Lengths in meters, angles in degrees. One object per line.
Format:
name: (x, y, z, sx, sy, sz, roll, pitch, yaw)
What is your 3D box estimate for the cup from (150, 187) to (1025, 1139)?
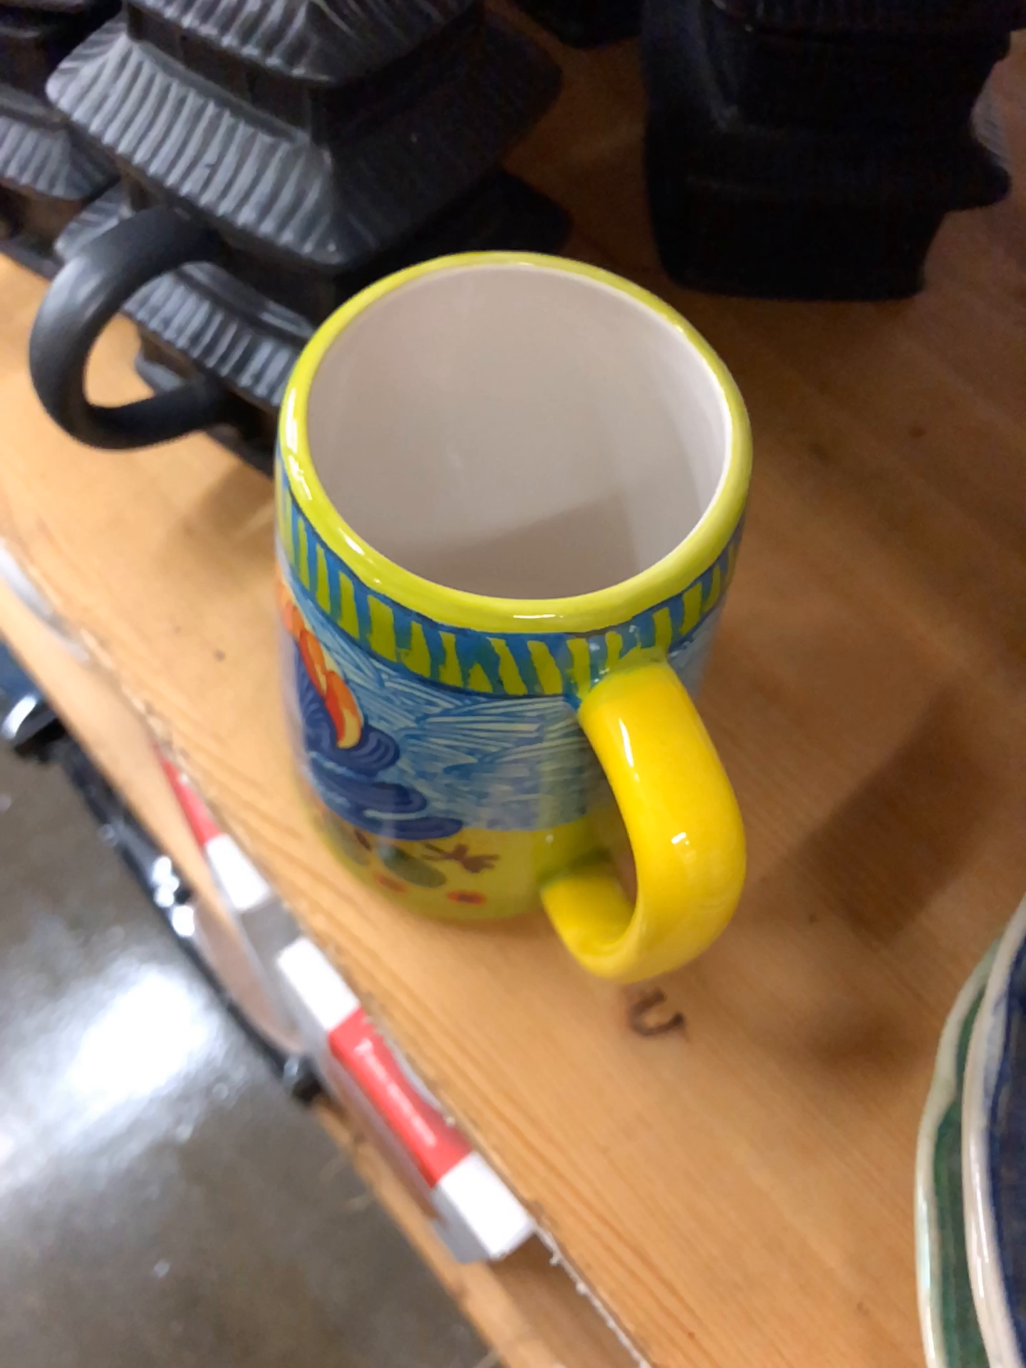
cup: (0.001, 0.005, 0.218, 0.086, 0.125, 0.114, -18, 65, -13)
